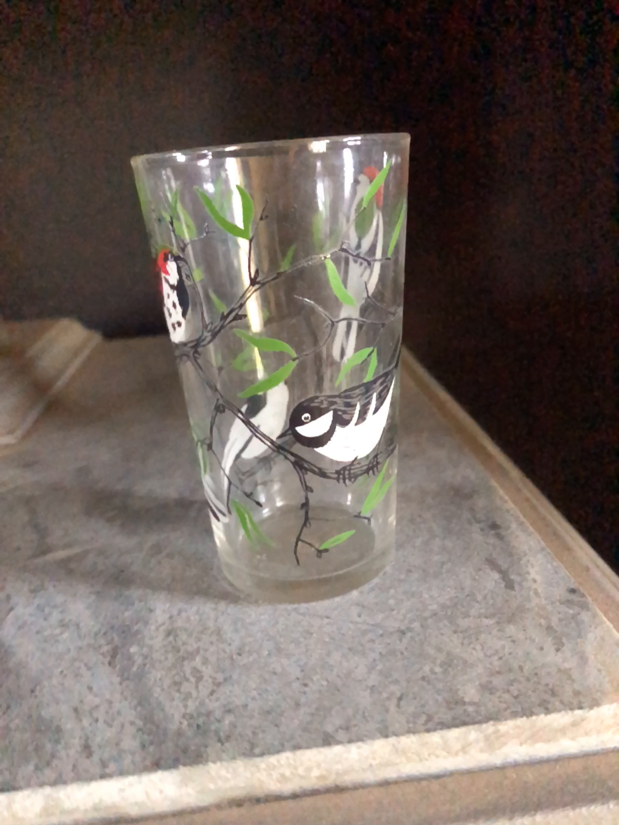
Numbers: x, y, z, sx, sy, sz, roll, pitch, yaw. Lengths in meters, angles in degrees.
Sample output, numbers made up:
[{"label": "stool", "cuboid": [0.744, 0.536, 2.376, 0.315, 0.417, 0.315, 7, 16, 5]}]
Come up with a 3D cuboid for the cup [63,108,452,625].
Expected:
[{"label": "cup", "cuboid": [-0.005, -0.015, 0.182, 0.070, 0.110, 0.060, 4, 21, 23]}]
